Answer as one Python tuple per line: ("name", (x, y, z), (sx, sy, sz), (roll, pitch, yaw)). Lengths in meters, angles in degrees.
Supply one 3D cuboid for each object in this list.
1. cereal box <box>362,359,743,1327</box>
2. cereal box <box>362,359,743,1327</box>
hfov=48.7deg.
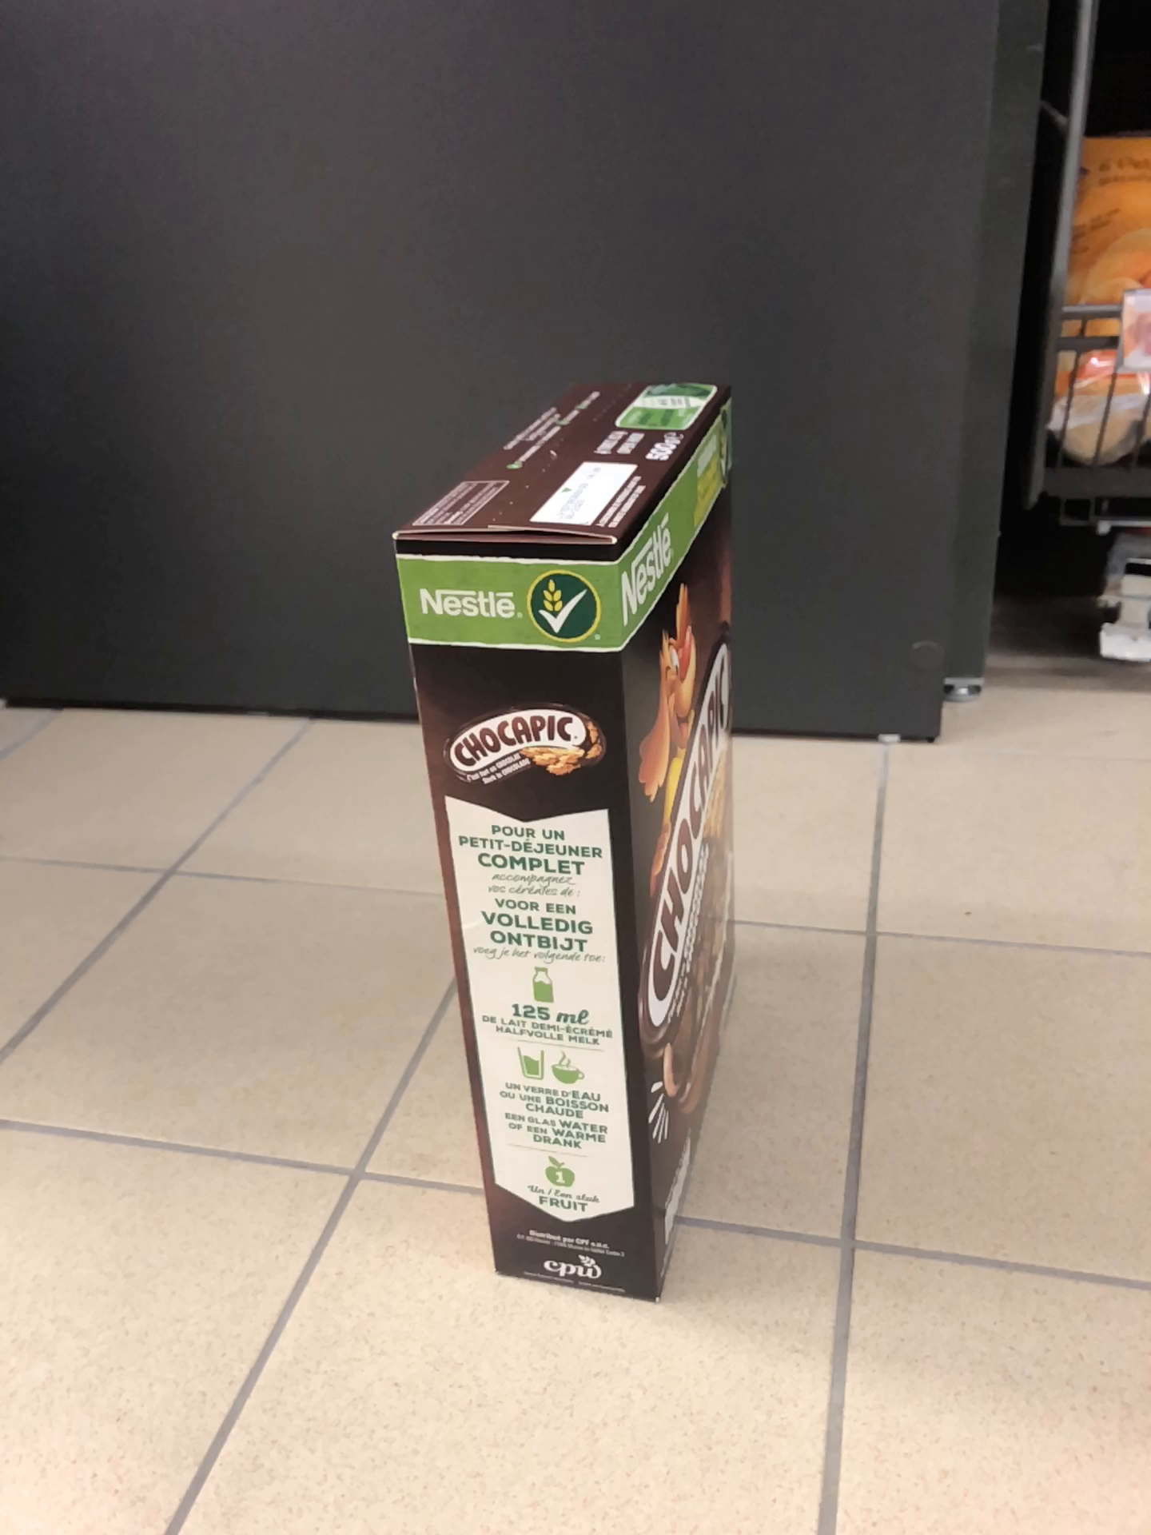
("cereal box", (0.012, 0.017, 0.470), (0.070, 0.288, 0.201), (4, 28, 15))
("cereal box", (0.012, 0.017, 0.470), (0.070, 0.288, 0.201), (4, 28, 15))
